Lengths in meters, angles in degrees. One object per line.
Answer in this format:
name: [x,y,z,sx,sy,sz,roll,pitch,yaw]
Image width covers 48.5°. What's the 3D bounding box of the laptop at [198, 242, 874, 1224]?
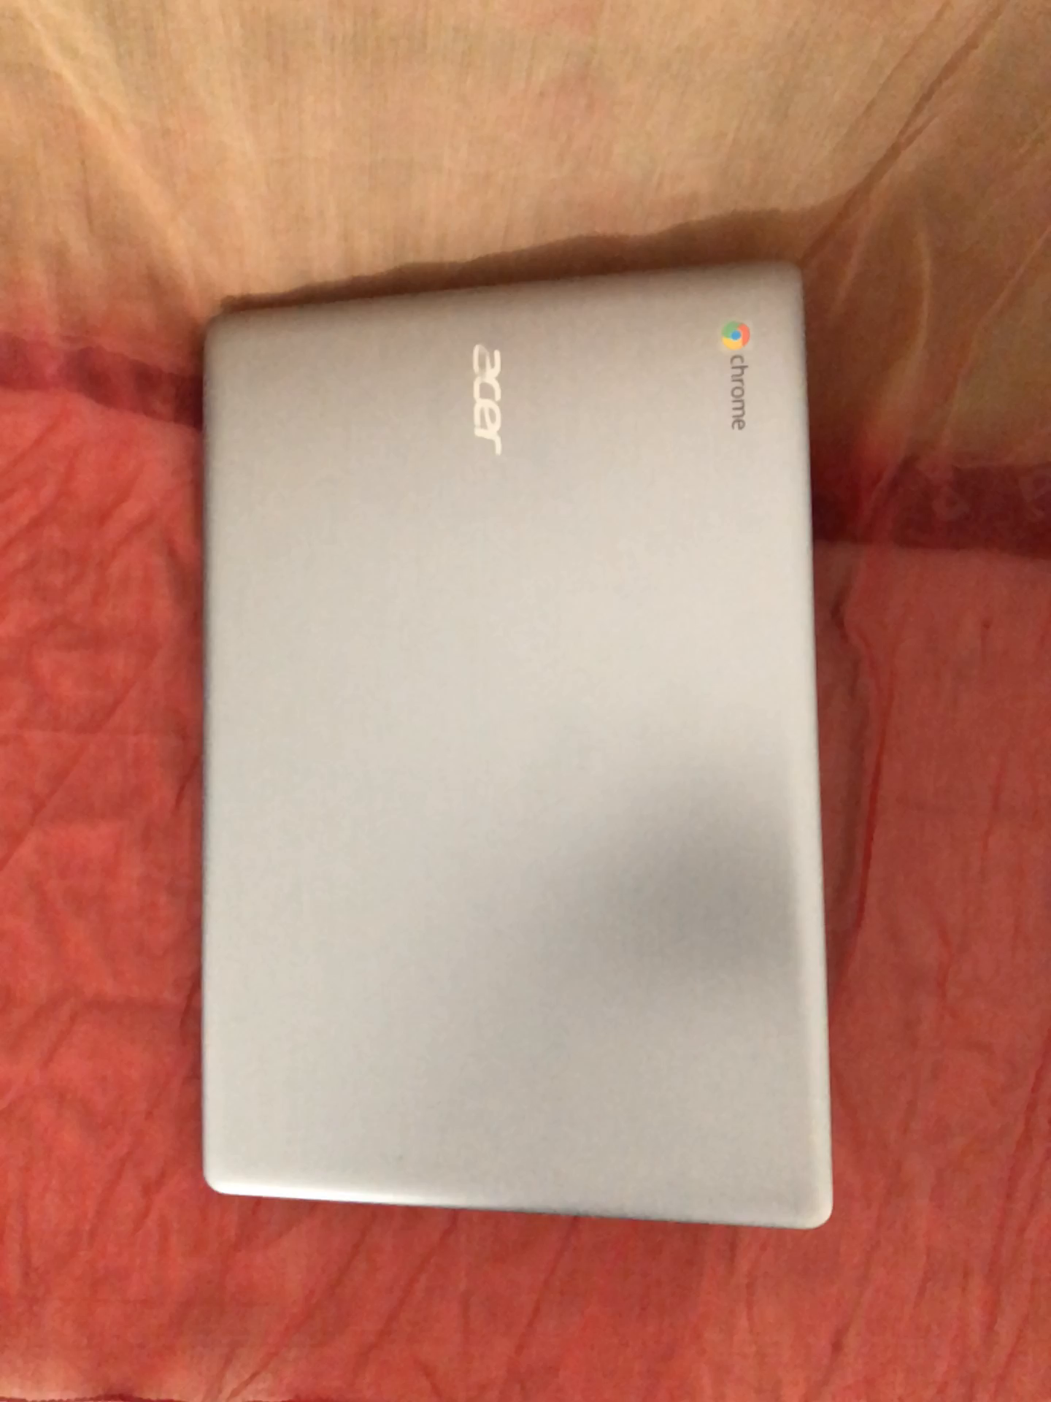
laptop: [0.000,0.009,0.417,0.219,0.066,0.321,-1,87,-2]
